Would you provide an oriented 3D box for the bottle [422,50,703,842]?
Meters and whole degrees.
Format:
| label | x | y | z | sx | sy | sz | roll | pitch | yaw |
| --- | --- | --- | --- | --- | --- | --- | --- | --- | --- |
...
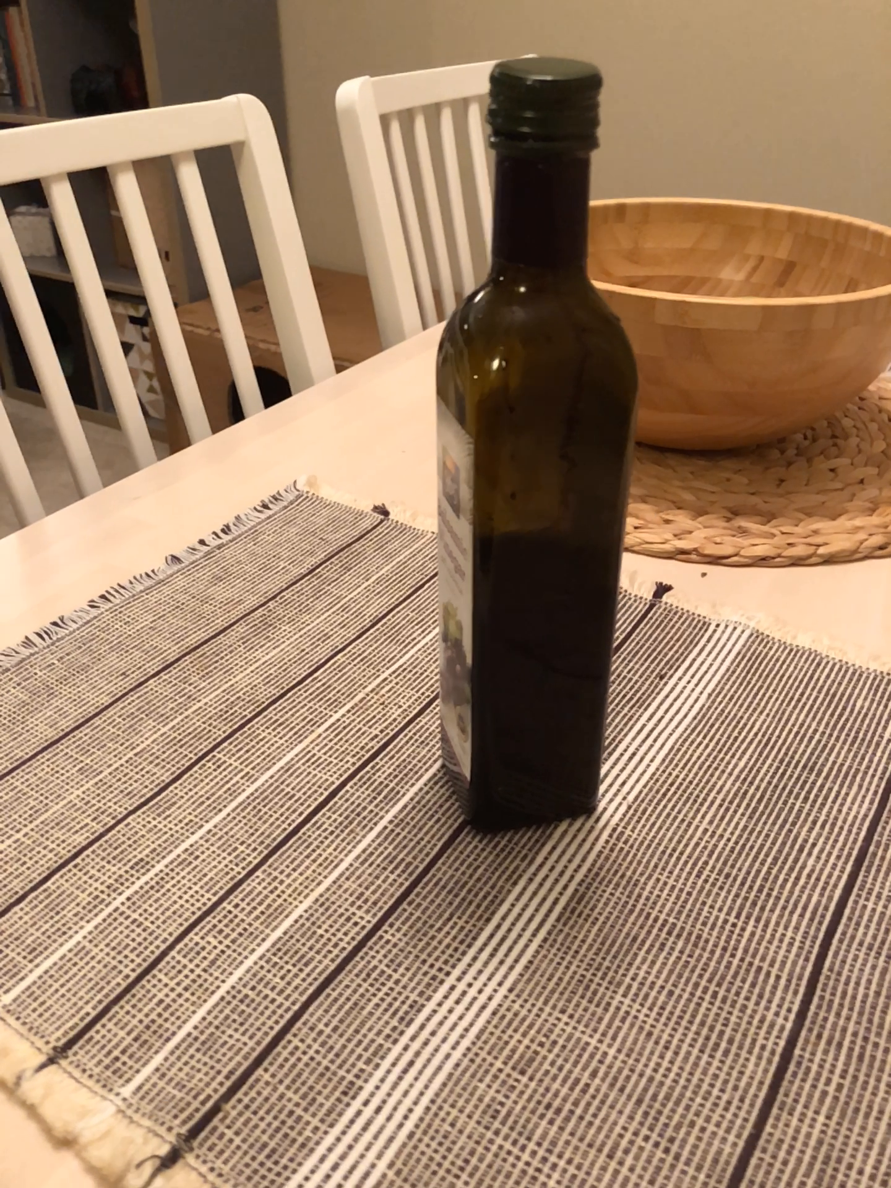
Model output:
| label | x | y | z | sx | sy | sz | roll | pitch | yaw |
| --- | --- | --- | --- | --- | --- | --- | --- | --- | --- |
| bottle | 0.029 | -0.036 | 0.337 | 0.060 | 0.261 | 0.060 | 0 | 32 | 0 |
